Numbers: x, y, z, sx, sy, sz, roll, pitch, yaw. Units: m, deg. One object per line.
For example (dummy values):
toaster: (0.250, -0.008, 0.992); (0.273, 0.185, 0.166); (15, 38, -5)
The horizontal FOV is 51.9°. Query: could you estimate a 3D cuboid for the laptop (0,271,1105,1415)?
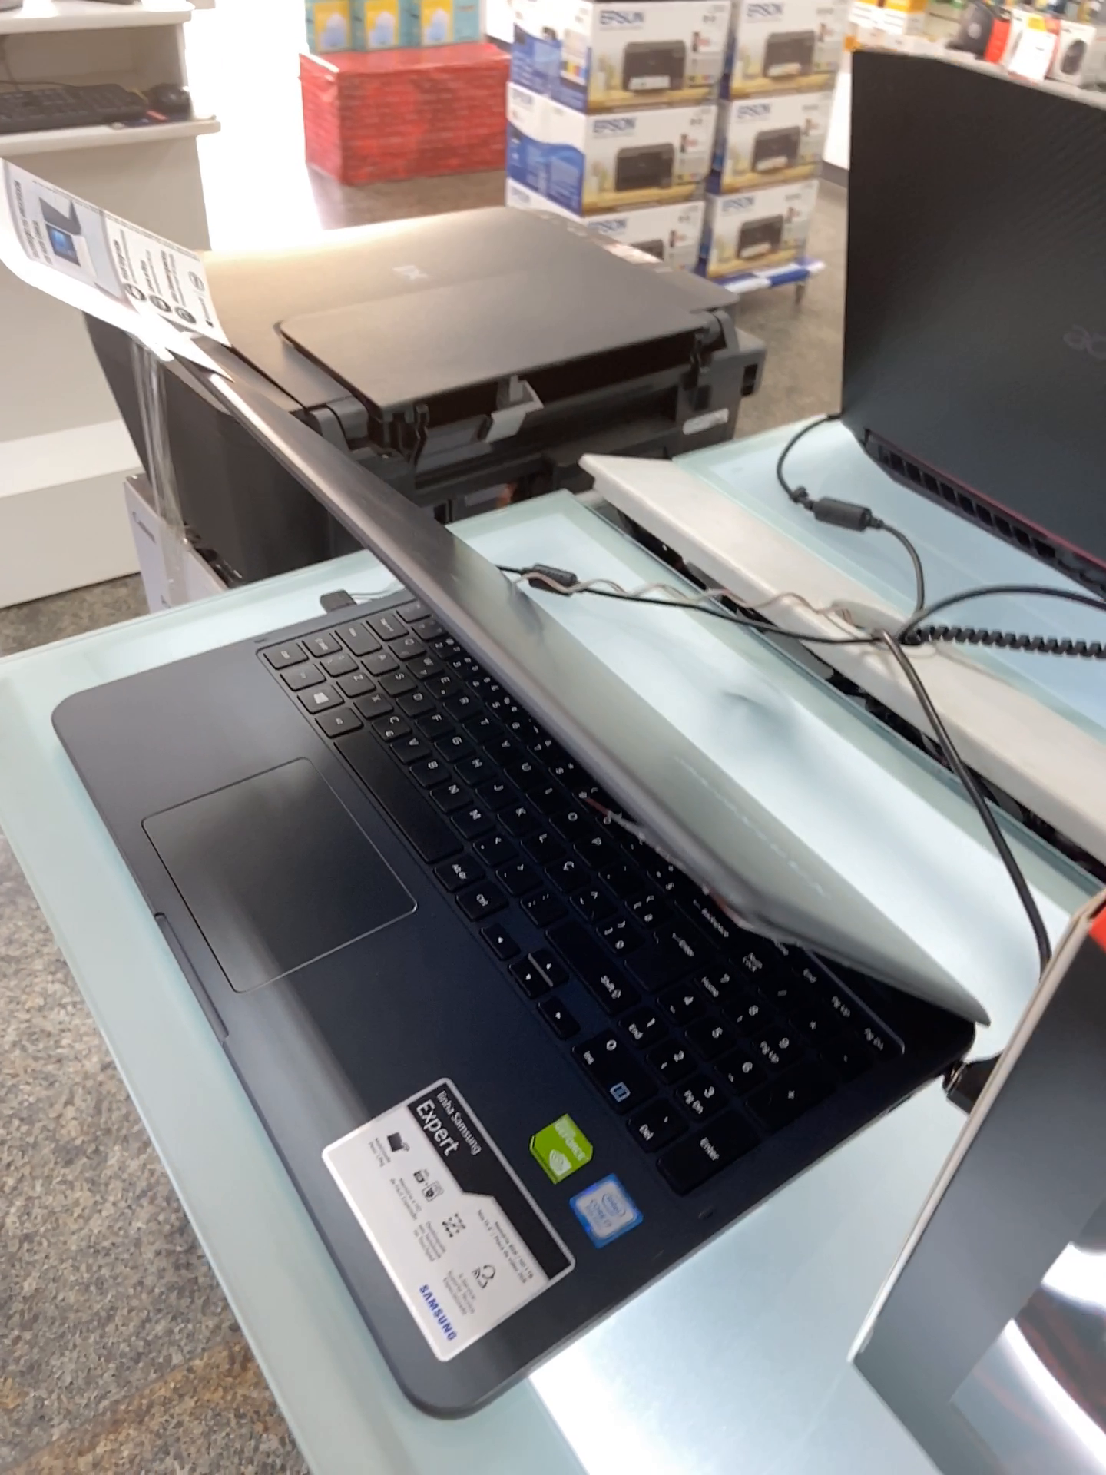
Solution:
laptop: (-0.036, -0.016, 0.439); (0.237, 0.170, 0.373); (-22, 47, -27)
